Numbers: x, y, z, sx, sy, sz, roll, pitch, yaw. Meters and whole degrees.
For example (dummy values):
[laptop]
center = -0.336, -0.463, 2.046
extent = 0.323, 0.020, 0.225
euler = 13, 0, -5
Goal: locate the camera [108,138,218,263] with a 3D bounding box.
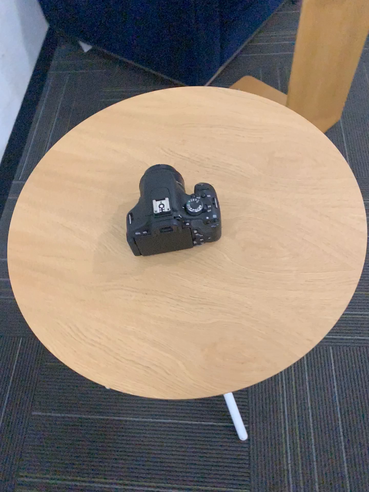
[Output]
[camera]
center = -0.028, -0.062, 0.537
extent = 0.130, 0.100, 0.120
euler = -10, 61, 1
